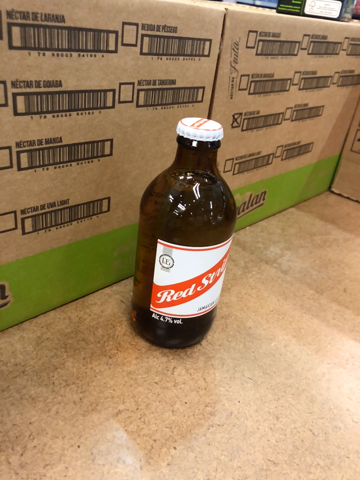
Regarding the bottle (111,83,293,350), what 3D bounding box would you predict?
[{"bbox_3d":[0.005,-0.016,0.278,0.080,0.159,0.070,-9,34,-27],"label":"bottle"}]
